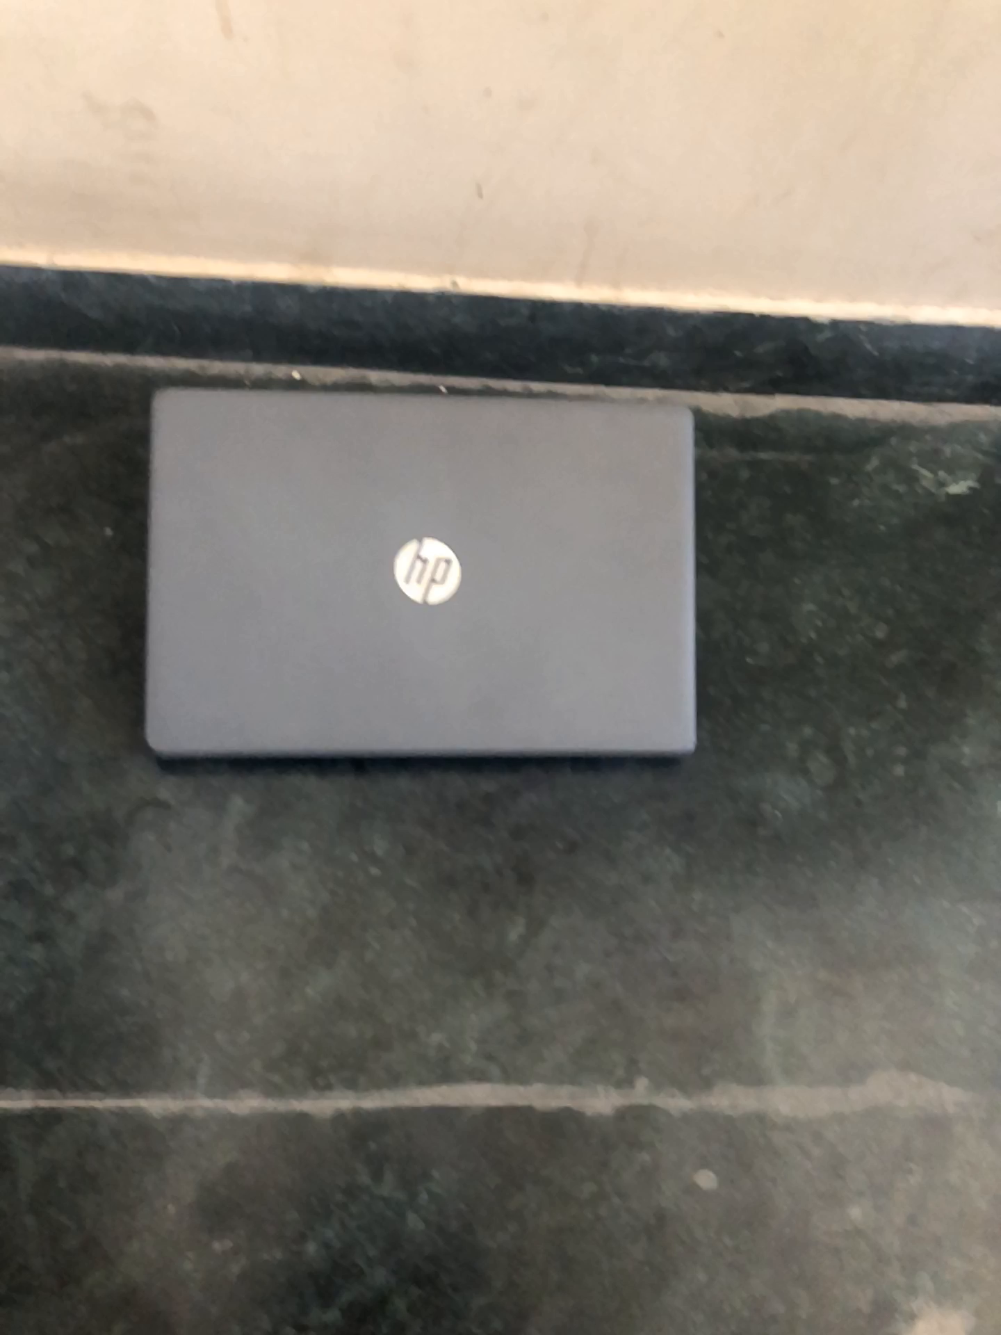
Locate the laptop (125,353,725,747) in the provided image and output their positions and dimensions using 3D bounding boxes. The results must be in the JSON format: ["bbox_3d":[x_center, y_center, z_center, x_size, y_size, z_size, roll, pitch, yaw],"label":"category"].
[{"bbox_3d":[-0.047,-0.078,0.745,0.357,0.092,0.243,0,67,-5],"label":"laptop"}]
